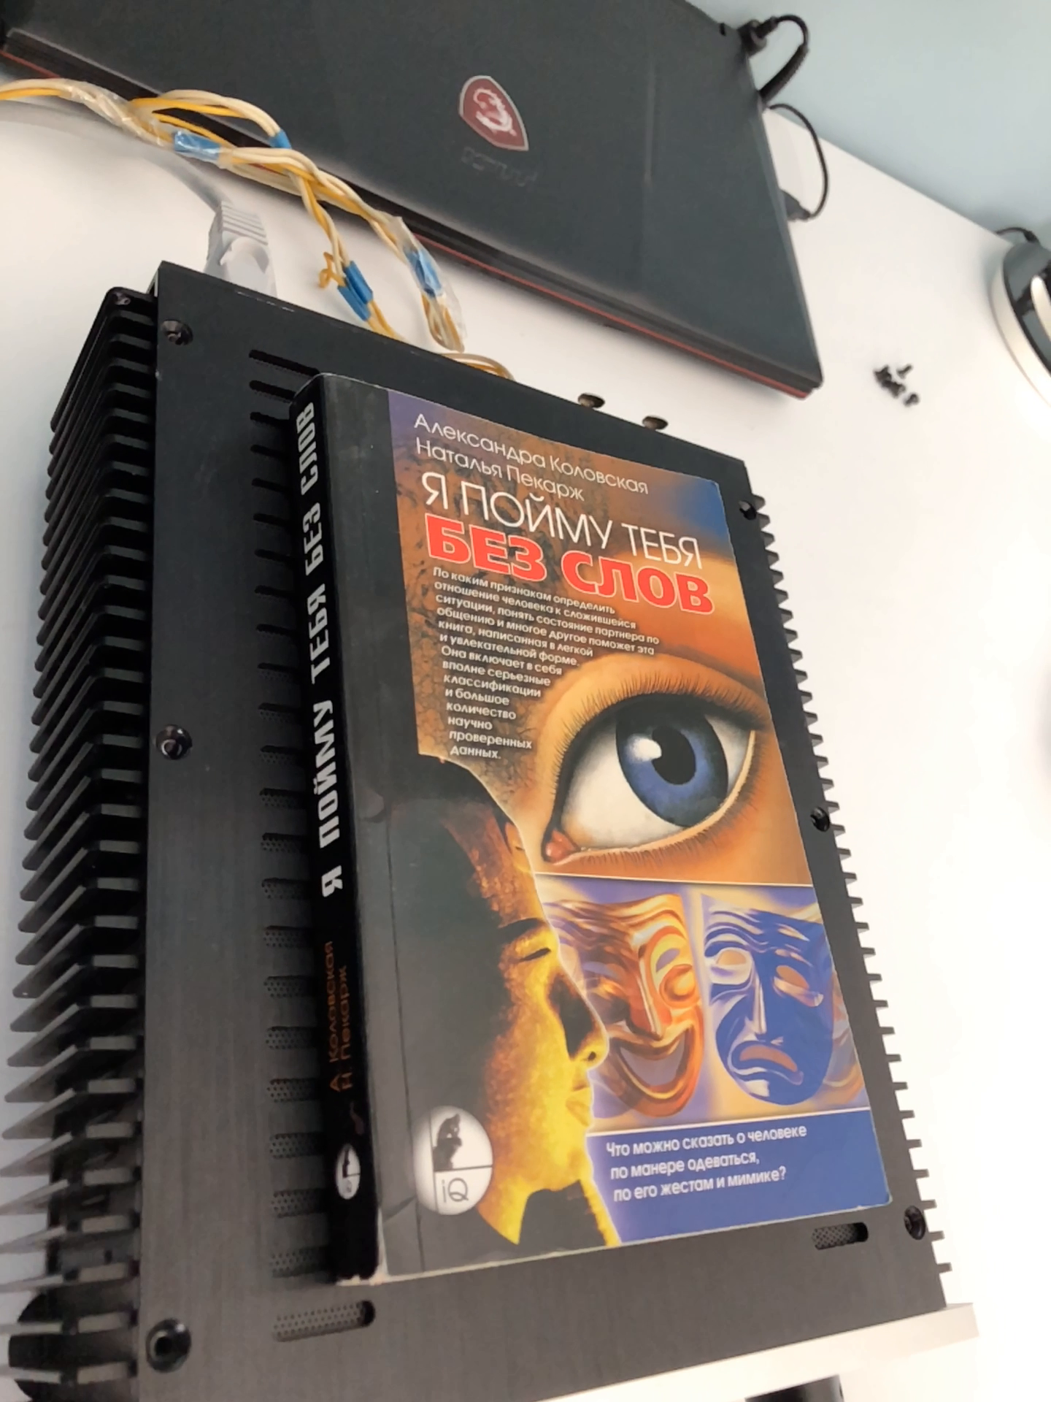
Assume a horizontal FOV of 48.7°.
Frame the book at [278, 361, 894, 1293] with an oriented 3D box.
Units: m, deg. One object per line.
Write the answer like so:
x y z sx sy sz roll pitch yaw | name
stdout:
0.010 0.021 0.259 0.123 0.023 0.183 9 61 -32 | book
